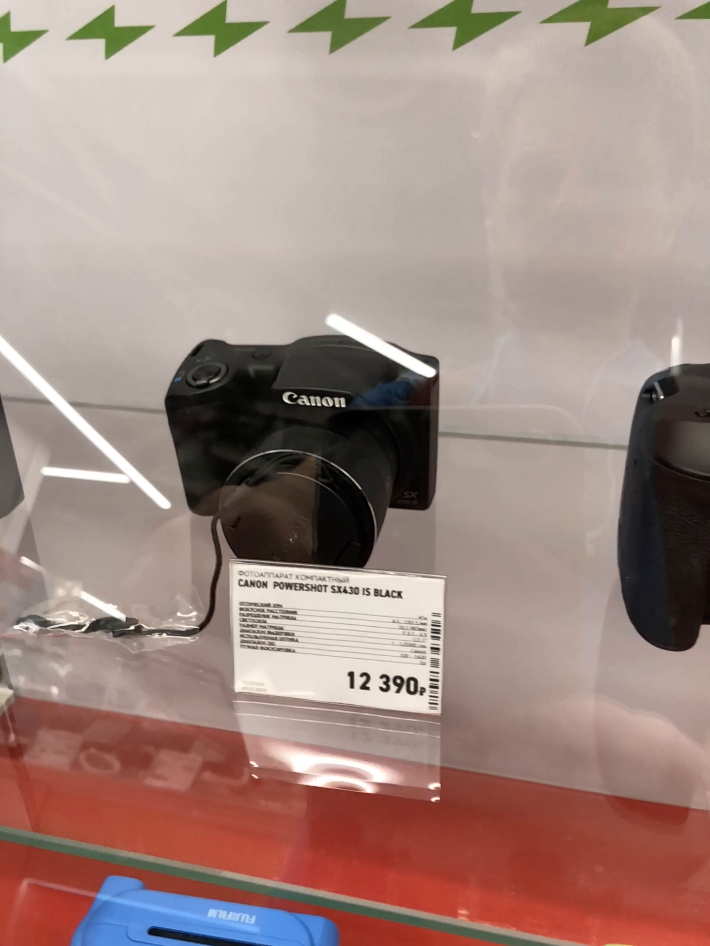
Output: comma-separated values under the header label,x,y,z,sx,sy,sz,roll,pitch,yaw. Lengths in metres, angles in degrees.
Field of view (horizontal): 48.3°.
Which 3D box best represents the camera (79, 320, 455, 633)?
label,x,y,z,sx,sy,sz,roll,pitch,yaw
camera,-0.025,-0.005,0.303,0.113,0.080,0.086,5,28,13
